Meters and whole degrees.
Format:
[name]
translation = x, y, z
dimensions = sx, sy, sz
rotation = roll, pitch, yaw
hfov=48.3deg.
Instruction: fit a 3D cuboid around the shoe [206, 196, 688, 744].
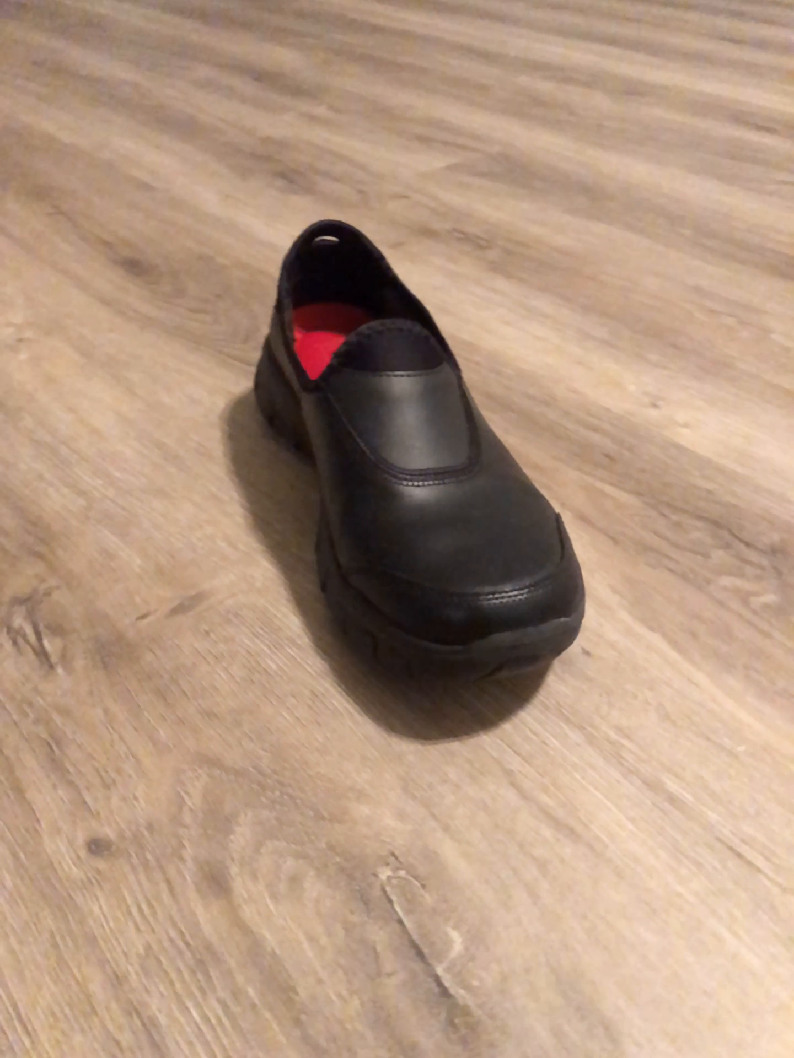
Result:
[shoe]
translation = -0.003, -0.047, 0.354
dimensions = 0.090, 0.090, 0.241
rotation = -12, 40, -17
